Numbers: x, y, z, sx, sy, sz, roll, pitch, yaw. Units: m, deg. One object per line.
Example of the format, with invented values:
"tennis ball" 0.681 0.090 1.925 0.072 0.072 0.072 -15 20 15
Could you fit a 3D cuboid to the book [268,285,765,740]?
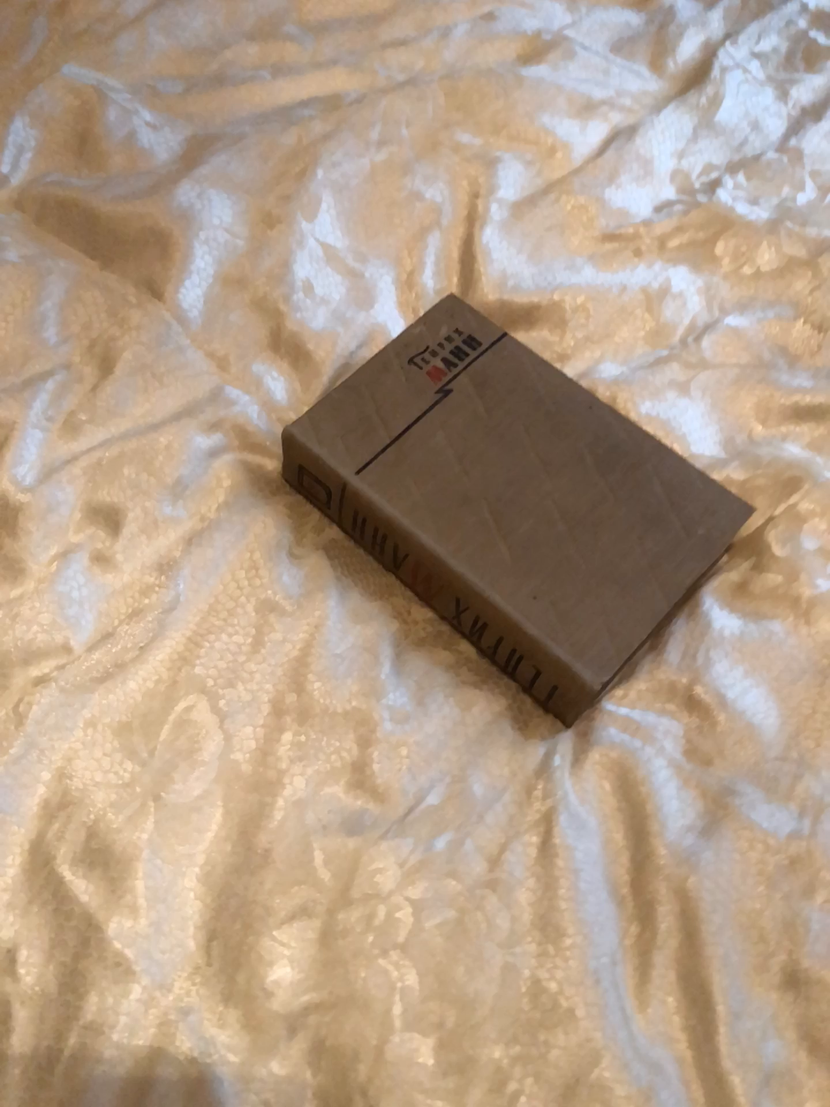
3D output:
"book" 0.048 -0.030 0.482 0.208 0.051 0.142 41 69 18
